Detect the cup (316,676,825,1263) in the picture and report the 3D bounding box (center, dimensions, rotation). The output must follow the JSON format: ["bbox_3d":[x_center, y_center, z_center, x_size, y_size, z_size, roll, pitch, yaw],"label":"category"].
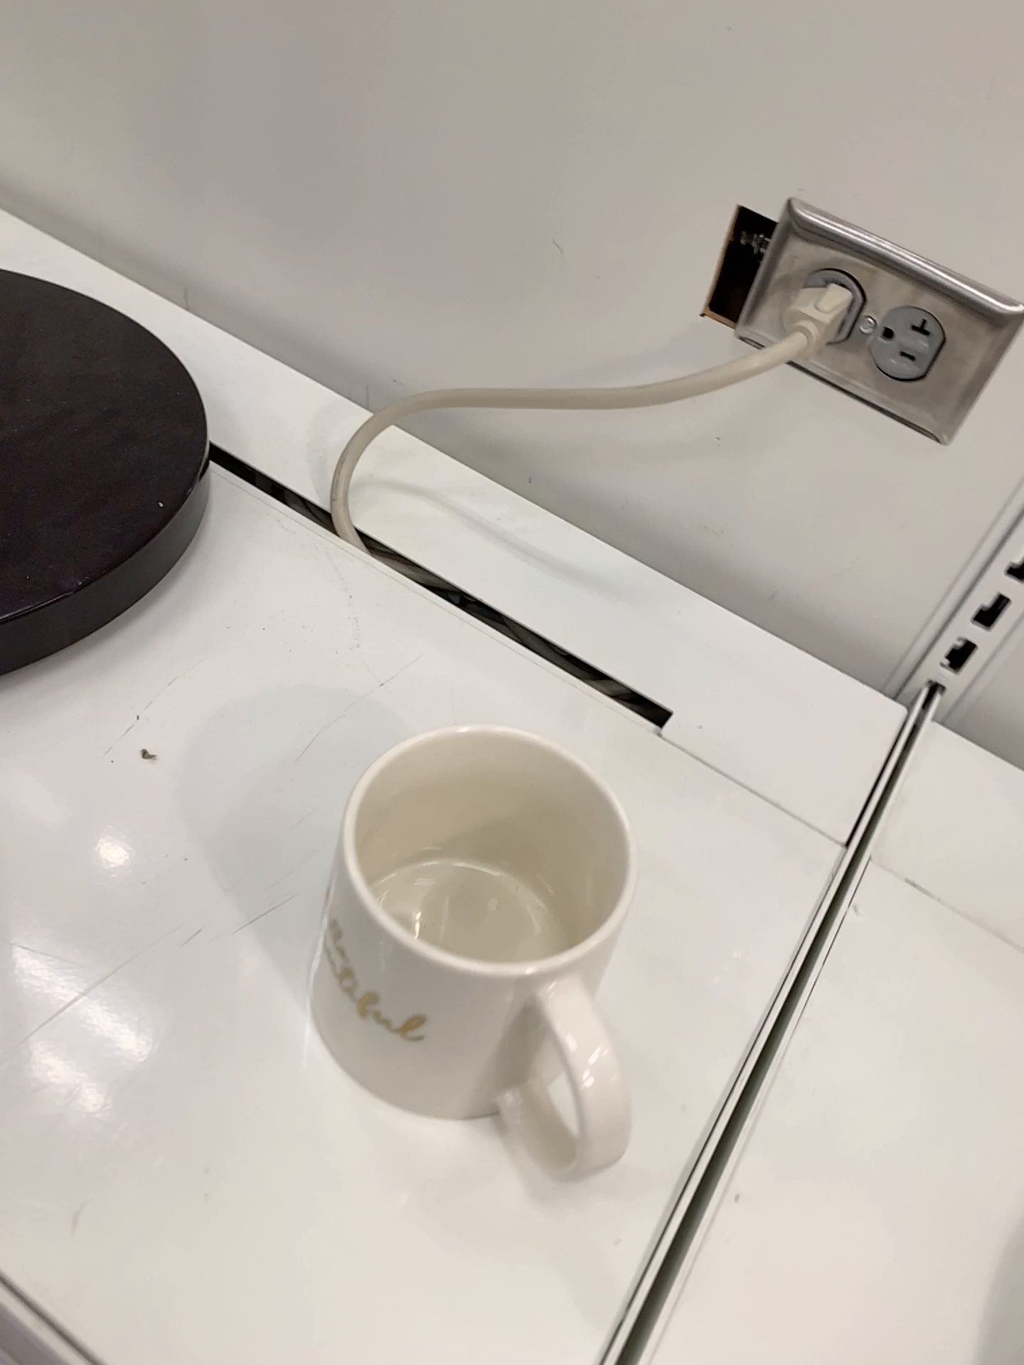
[{"bbox_3d":[0.007,0.090,0.360,0.104,0.097,0.140,-13,50,-24],"label":"cup"}]
